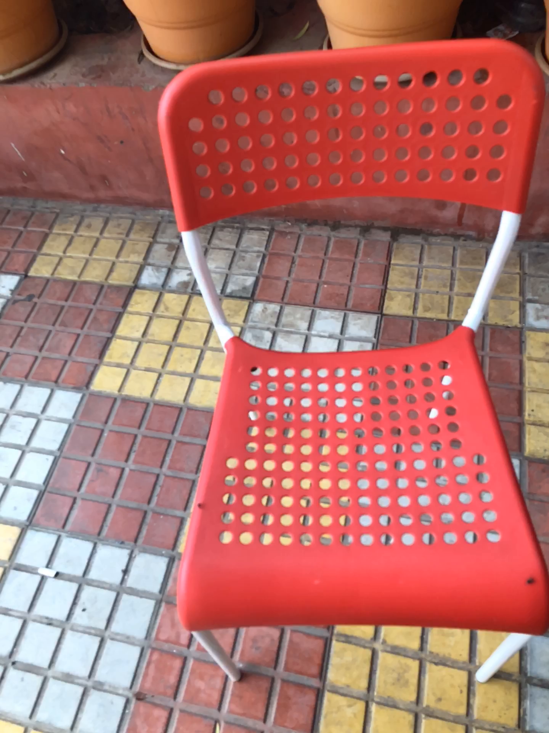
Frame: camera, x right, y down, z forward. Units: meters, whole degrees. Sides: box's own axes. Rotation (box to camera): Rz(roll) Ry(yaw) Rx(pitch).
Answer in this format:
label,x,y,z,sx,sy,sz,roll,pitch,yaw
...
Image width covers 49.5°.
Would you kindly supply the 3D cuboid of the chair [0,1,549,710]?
label,x,y,z,sx,sy,sz,roll,pitch,yaw
chair,0.076,0.077,0.726,0.450,0.697,0.543,-1,57,6
